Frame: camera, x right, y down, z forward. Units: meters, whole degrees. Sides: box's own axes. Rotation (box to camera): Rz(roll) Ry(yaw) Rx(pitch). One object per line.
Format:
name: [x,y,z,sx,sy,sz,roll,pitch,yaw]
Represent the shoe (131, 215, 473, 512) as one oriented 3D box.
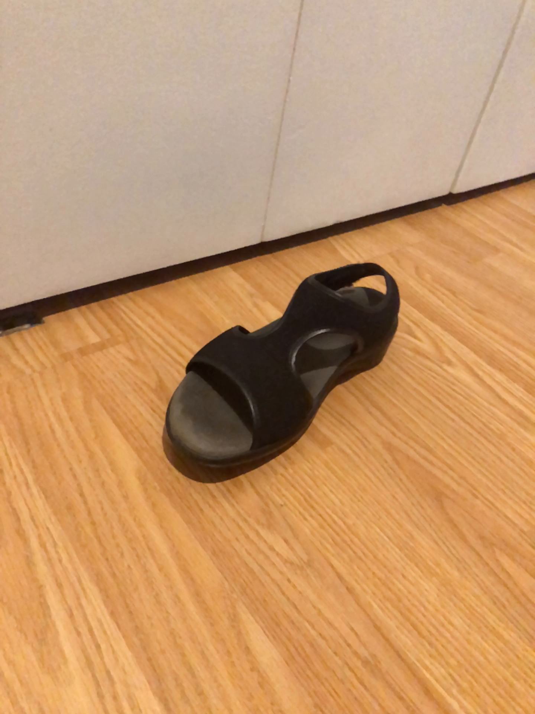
shoe: [0.033,-0.013,0.447,0.100,0.100,0.251,38,46,27]
